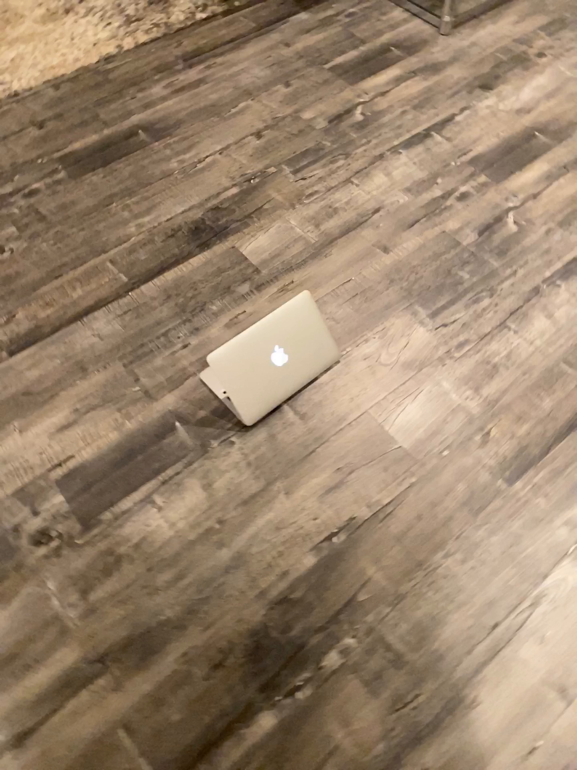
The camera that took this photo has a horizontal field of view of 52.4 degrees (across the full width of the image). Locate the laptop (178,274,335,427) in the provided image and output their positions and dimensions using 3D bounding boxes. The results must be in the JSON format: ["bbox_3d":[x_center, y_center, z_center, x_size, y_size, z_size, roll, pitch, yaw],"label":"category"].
[{"bbox_3d":[-0.068,-0.085,1.360,0.292,0.132,0.193,-37,65,-21],"label":"laptop"}]
